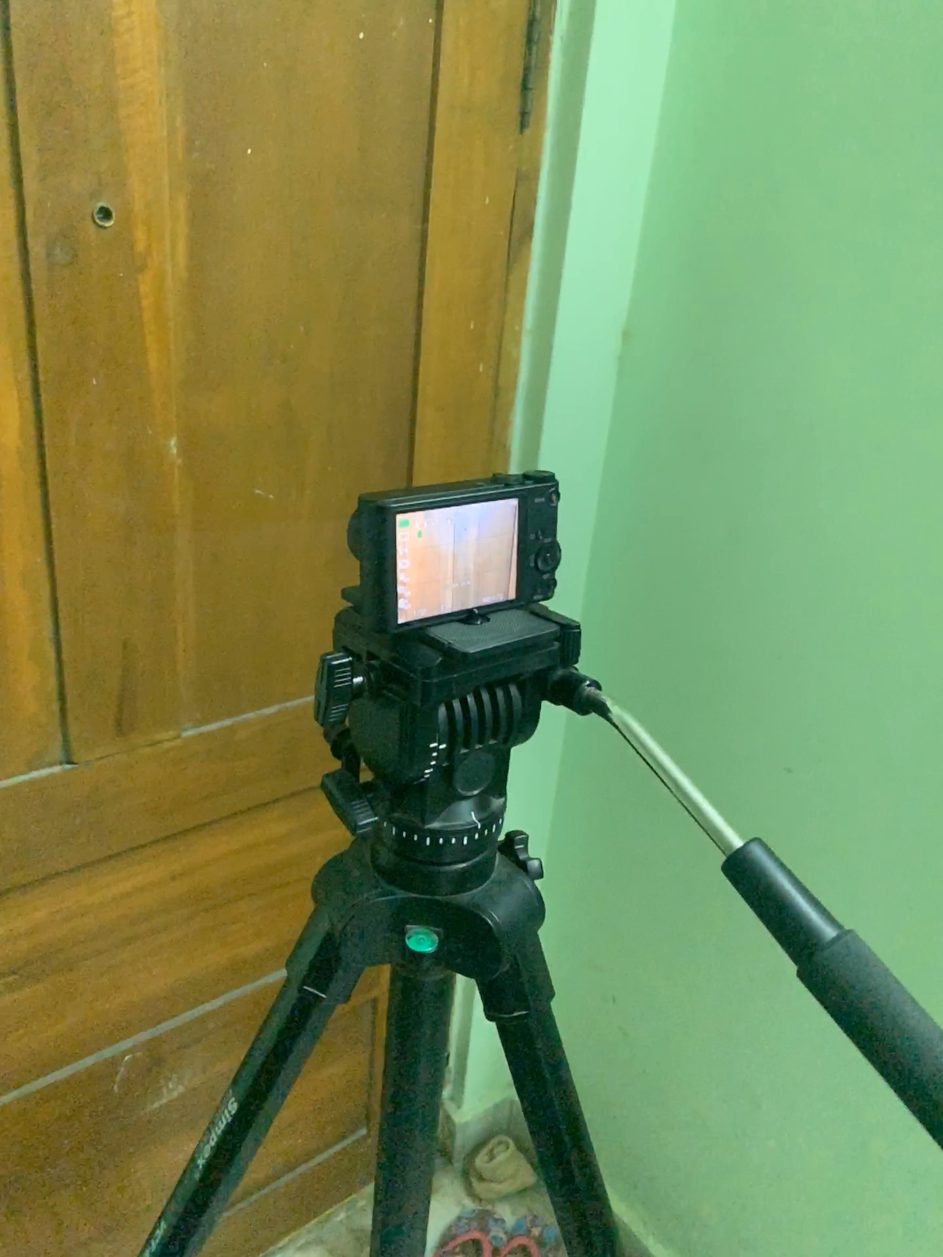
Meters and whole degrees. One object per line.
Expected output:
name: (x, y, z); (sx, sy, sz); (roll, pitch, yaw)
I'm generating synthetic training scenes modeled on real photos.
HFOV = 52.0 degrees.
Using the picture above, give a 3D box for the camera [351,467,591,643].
camera: (0.001, -0.036, 0.431); (0.100, 0.060, 0.040); (-11, 22, -34)
